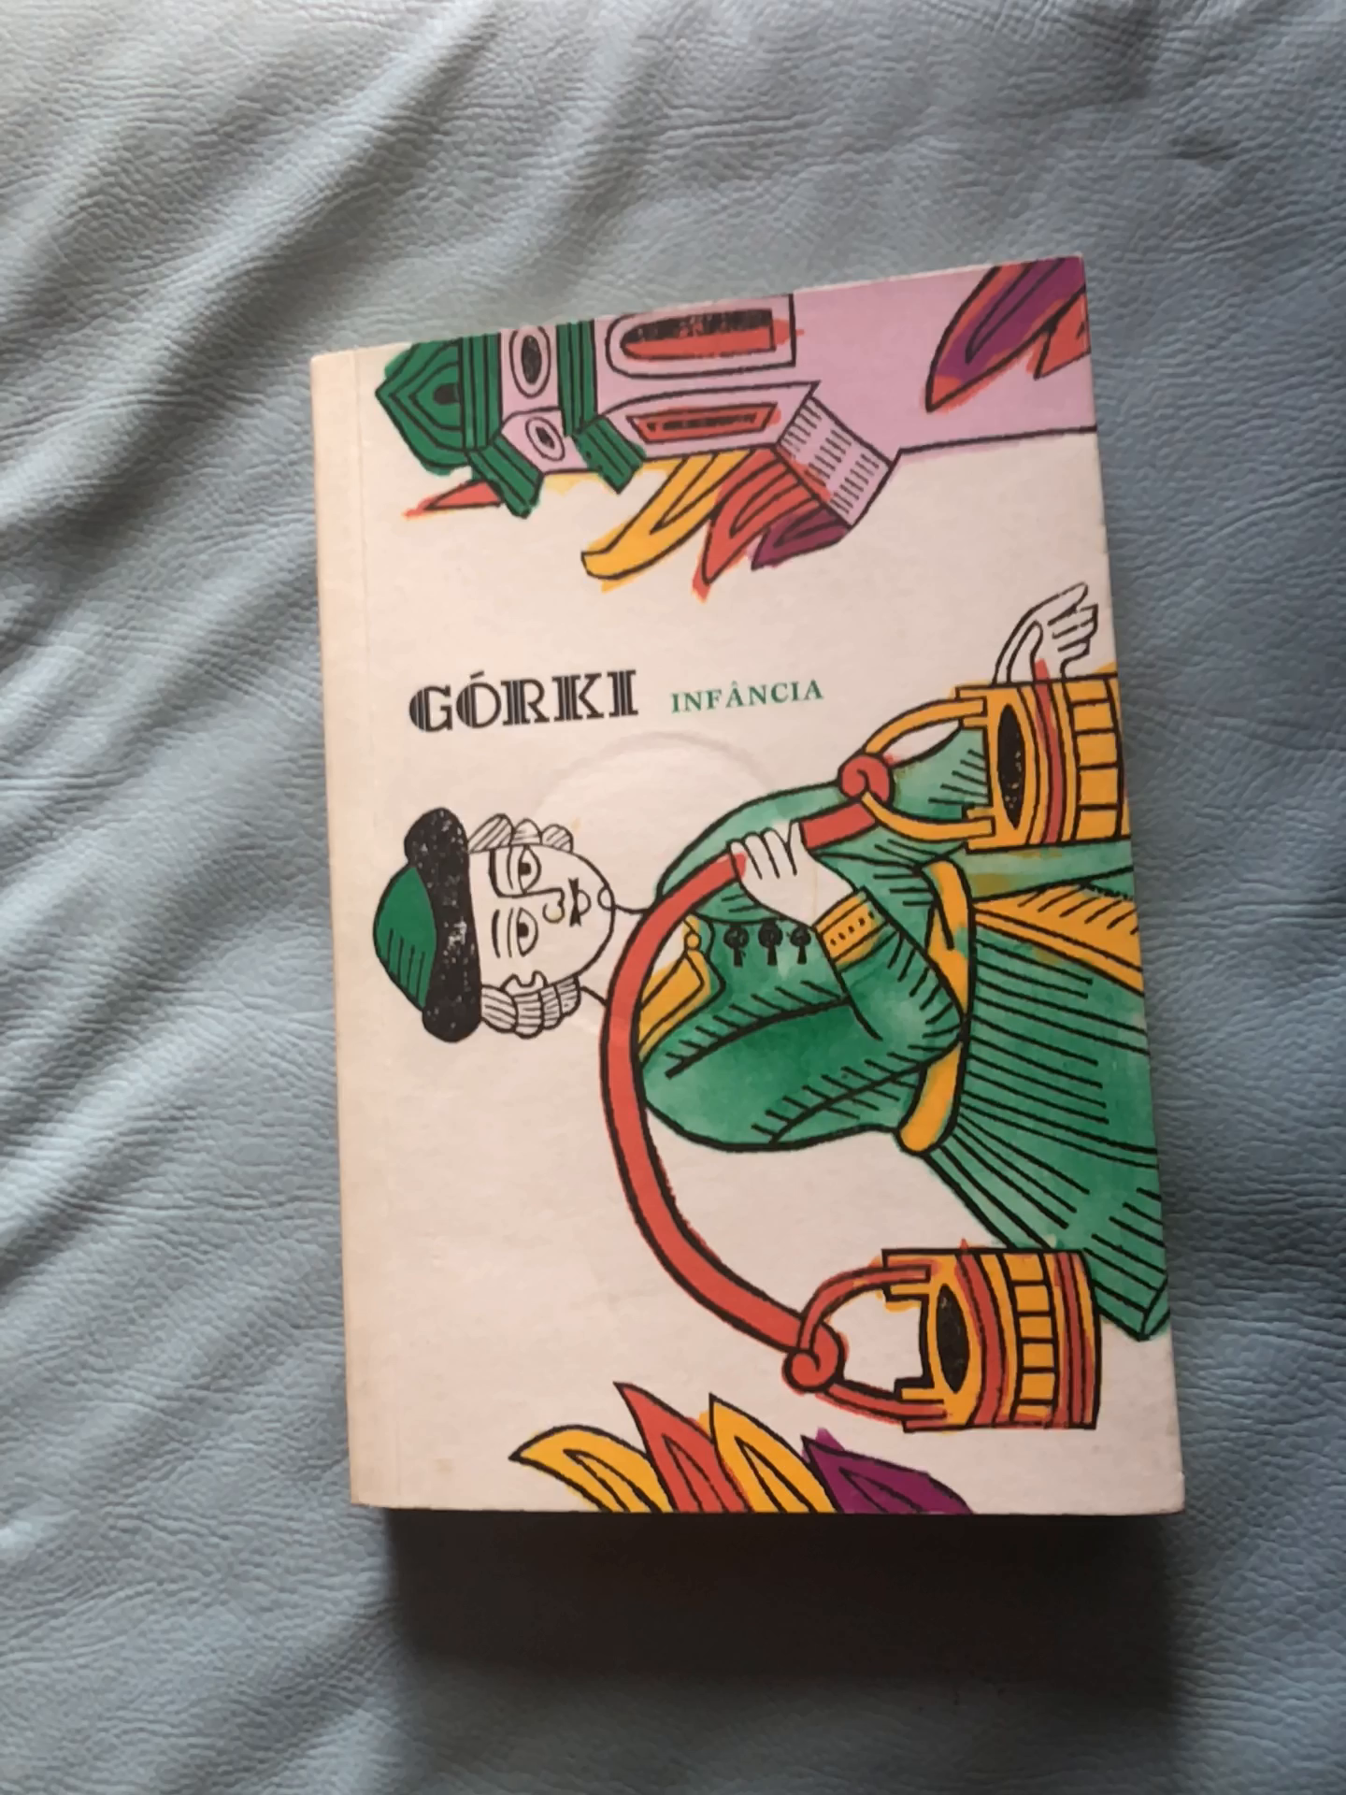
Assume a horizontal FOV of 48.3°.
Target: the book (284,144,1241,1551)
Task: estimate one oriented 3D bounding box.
[{"bbox_3d":[0.010,-0.005,0.237,0.130,0.030,0.200,-4,85,9],"label":"book"}]
